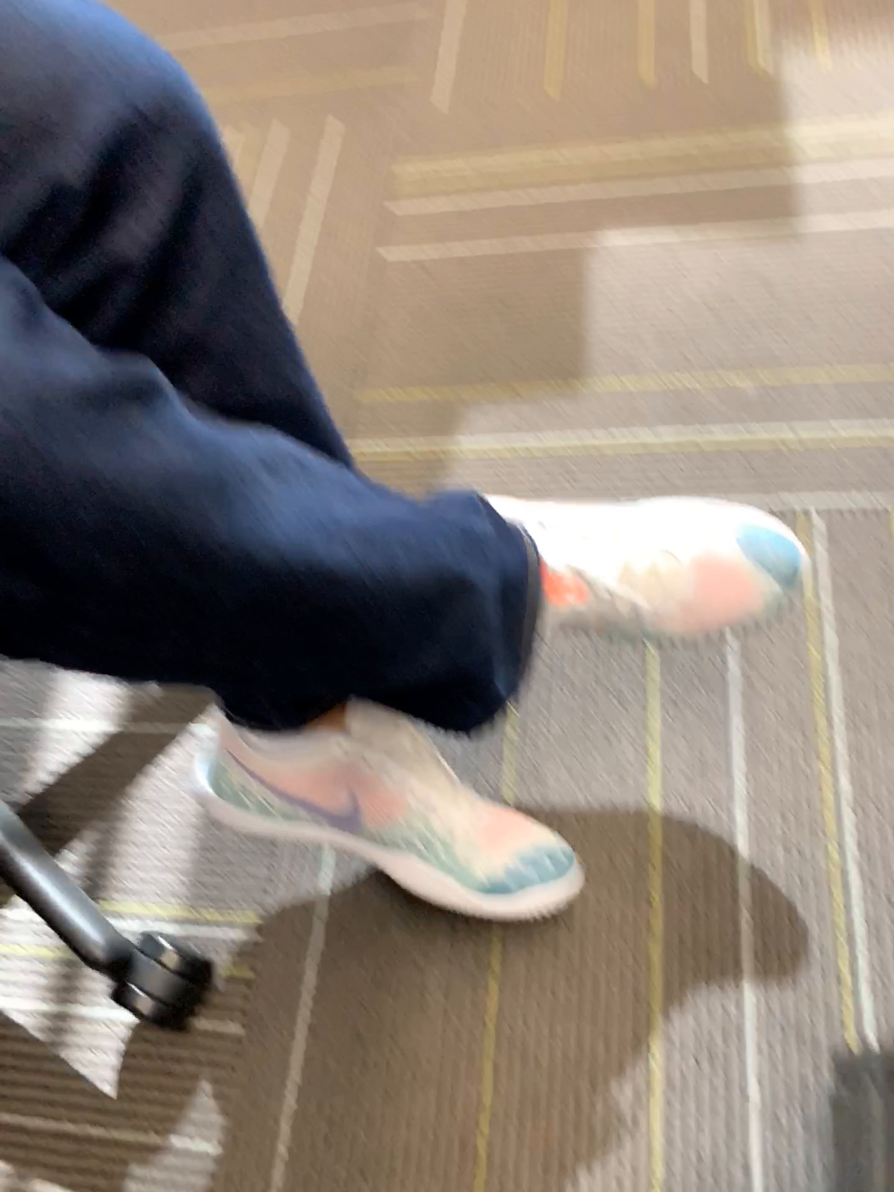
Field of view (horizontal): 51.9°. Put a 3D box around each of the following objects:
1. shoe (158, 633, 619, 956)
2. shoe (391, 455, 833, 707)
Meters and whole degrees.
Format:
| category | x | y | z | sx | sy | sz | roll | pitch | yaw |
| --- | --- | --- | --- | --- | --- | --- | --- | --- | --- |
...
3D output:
| category | x | y | z | sx | sy | sz | roll | pitch | yaw |
| --- | --- | --- | --- | --- | --- | --- | --- | --- | --- |
| shoe | -0.038 | 0.129 | 0.644 | 0.286 | 0.108 | 0.115 | 11 | 36 | 17 |
| shoe | 0.106 | -0.018 | 0.635 | 0.265 | 0.108 | 0.113 | 7 | 24 | 9 |
